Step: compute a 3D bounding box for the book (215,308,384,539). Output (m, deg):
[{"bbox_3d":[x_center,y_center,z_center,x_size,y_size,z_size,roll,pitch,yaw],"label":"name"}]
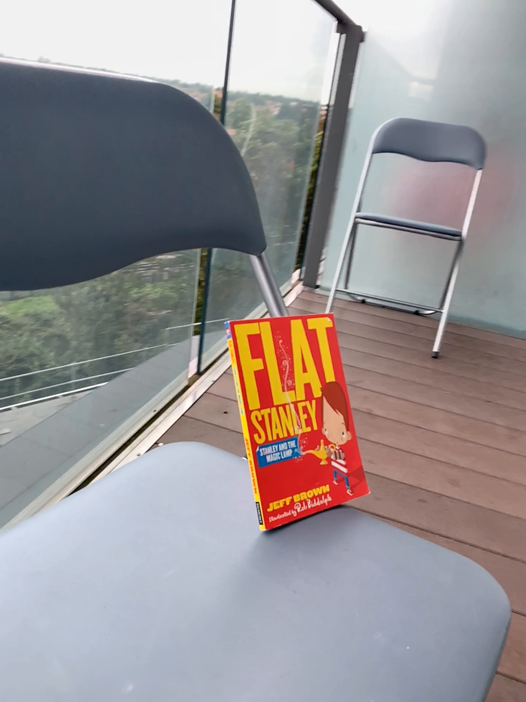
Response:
[{"bbox_3d":[0.038,0.060,0.510,0.140,0.190,0.020,-7,-6,-31],"label":"book"}]
